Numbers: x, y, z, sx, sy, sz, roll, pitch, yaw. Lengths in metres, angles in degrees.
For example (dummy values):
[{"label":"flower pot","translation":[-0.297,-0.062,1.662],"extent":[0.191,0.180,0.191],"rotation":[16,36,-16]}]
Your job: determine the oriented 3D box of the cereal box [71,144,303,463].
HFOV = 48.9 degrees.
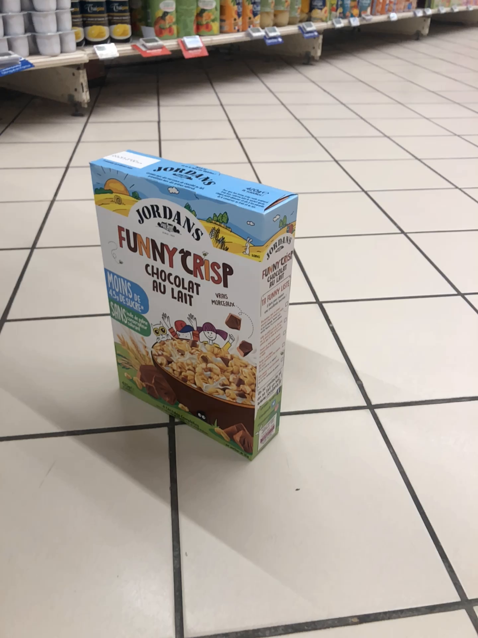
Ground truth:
[{"label":"cereal box","translation":[-0.047,-0.015,0.461],"extent":[0.180,0.229,0.060],"rotation":[23,39,29]}]
